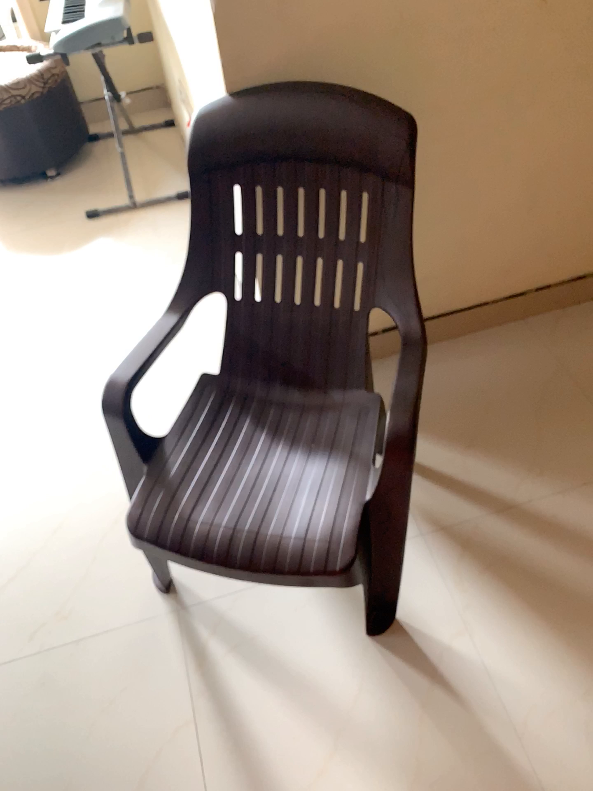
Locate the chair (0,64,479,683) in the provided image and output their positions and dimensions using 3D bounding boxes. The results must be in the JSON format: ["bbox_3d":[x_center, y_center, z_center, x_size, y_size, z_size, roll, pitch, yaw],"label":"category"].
[{"bbox_3d":[-0.027,0.004,1.255,0.601,1.032,0.664,8,49,14],"label":"chair"}]
